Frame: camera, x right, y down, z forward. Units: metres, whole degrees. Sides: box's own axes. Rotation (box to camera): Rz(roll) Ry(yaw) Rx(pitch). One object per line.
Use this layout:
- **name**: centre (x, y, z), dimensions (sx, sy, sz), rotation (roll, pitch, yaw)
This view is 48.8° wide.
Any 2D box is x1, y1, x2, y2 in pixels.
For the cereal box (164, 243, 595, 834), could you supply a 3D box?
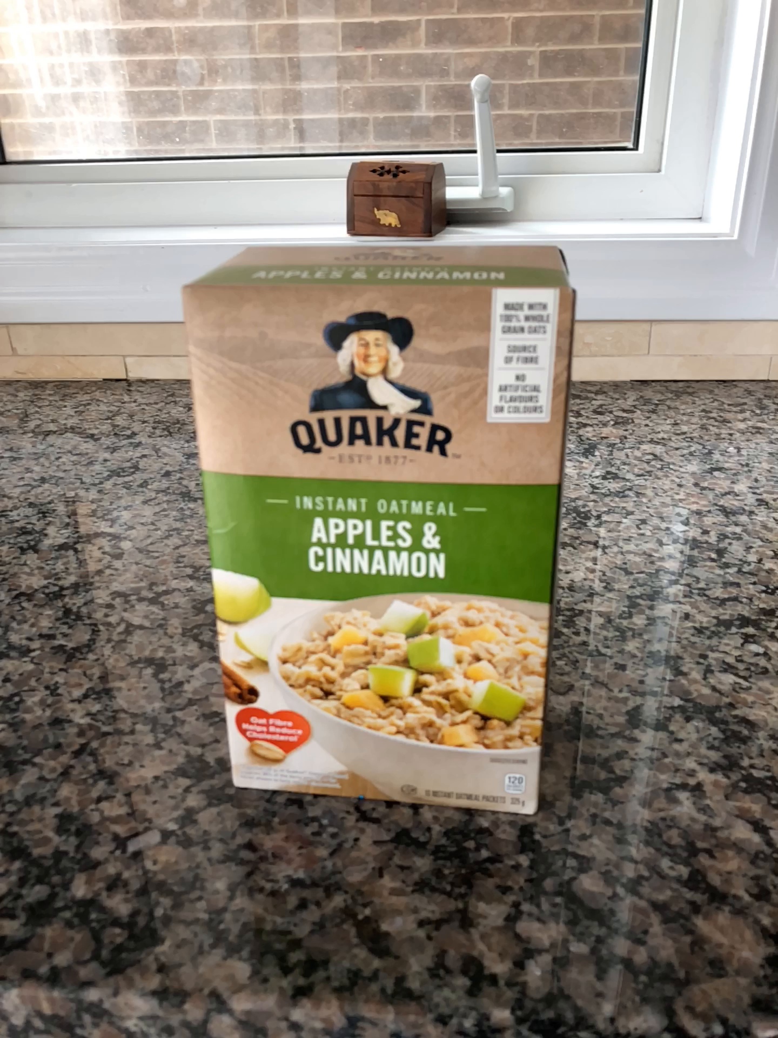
- **cereal box**: centre (0.004, 0.006, 0.341), dimensions (0.130, 0.209, 0.090), rotation (3, 26, 8)
